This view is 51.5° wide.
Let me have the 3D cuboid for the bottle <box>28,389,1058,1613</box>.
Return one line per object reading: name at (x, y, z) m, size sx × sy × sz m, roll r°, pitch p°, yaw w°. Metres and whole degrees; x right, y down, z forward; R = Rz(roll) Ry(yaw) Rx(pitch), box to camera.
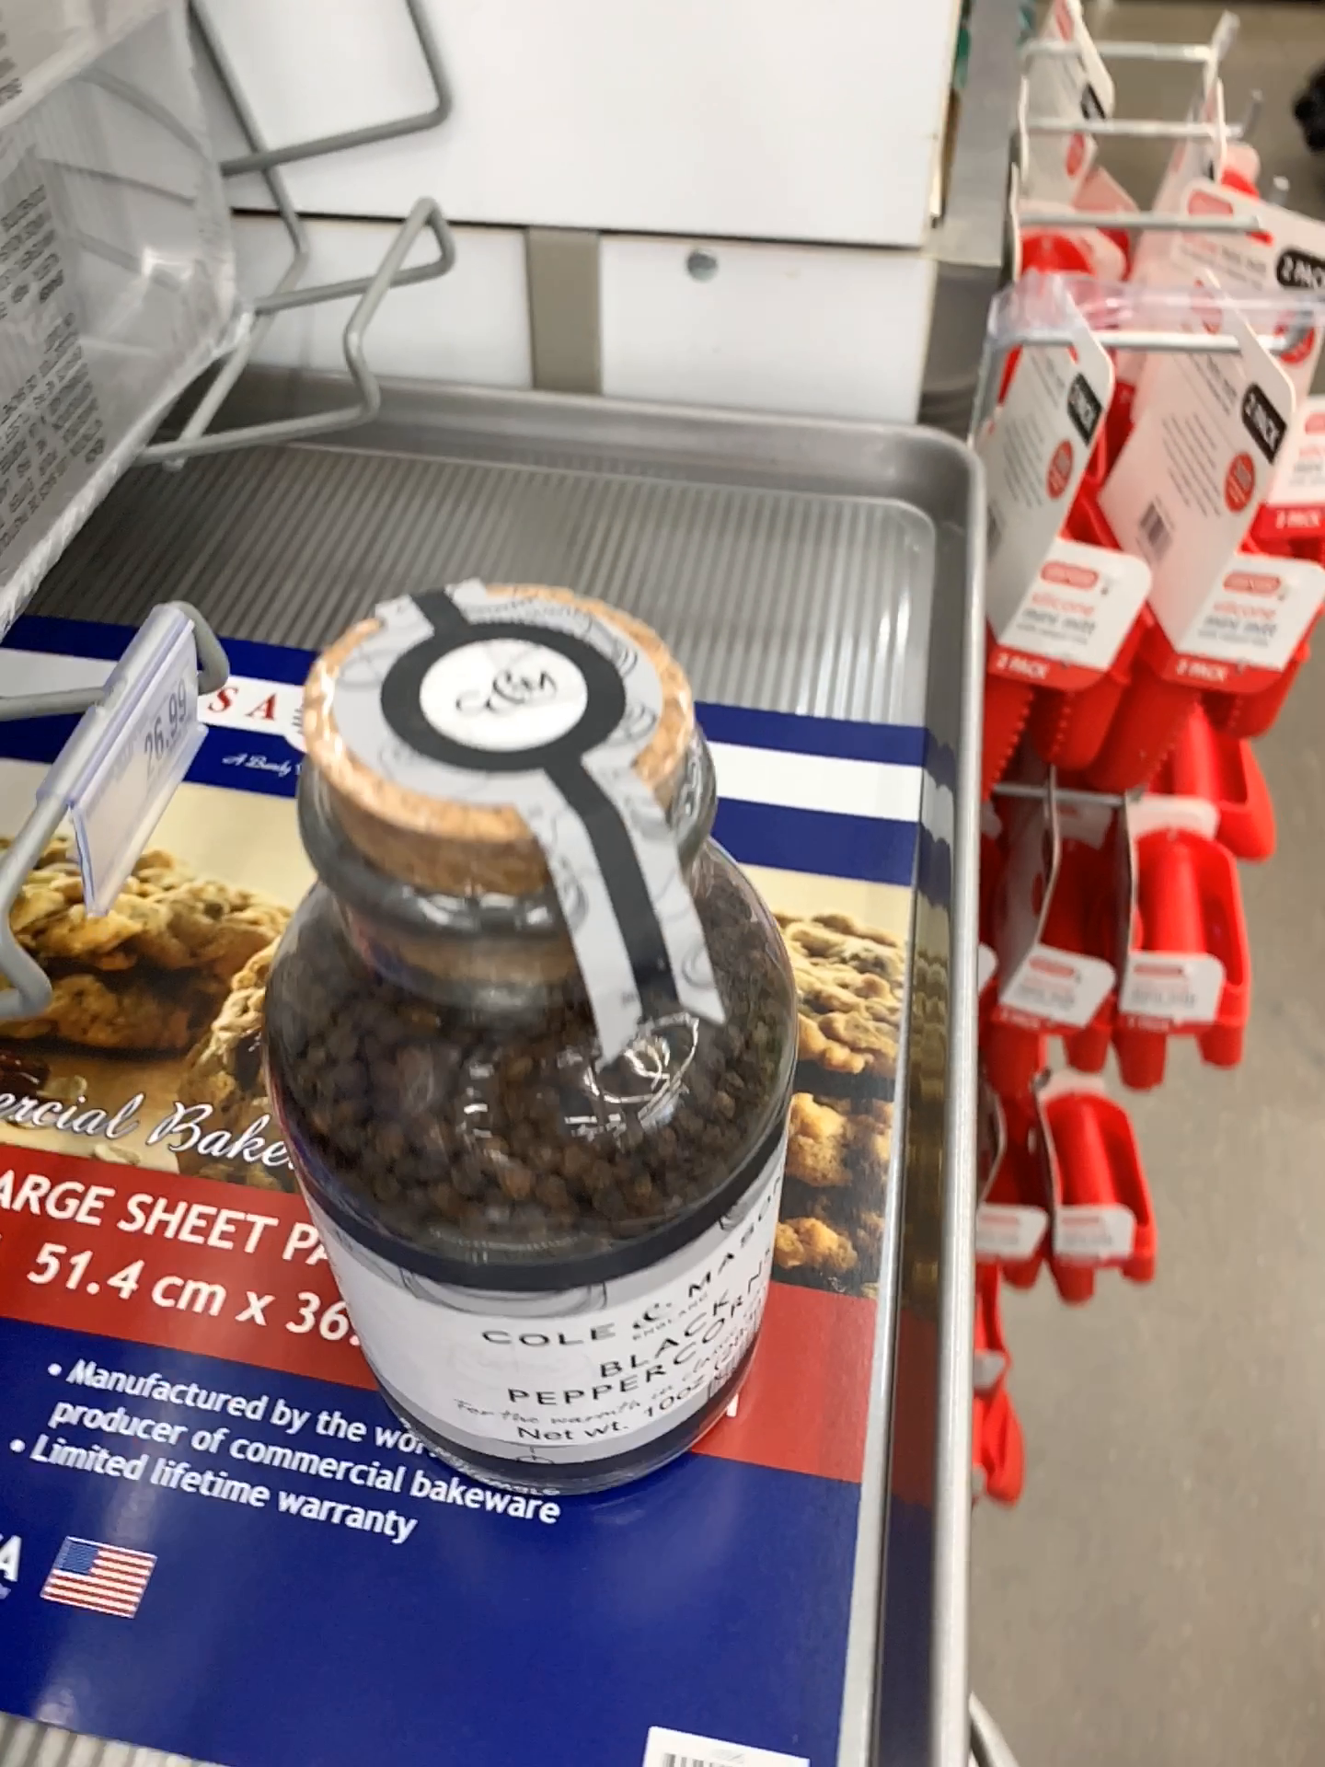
bottle at (-0.018, 0.027, 0.218) m, size 0.090 × 0.159 × 0.090 m, roll 0°, pitch 48°, yaw 0°
